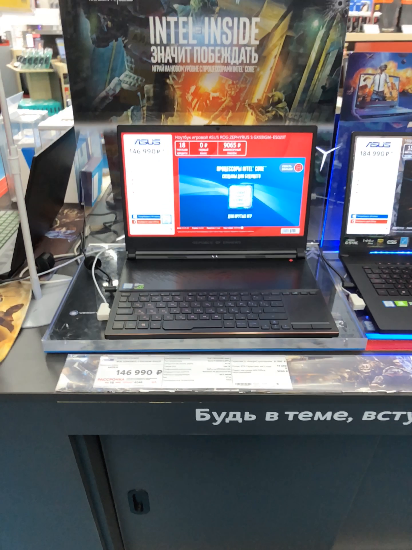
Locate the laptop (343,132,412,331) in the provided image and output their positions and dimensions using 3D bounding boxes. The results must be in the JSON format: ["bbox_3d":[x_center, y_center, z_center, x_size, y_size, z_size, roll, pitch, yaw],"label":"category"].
[{"bbox_3d":[0.451,-0.090,0.771,0.341,0.219,0.303,1,30,2],"label":"laptop"}]

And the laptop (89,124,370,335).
[{"bbox_3d":[0.025,-0.089,0.740,0.349,0.241,0.279,0,30,-1],"label":"laptop"}]
